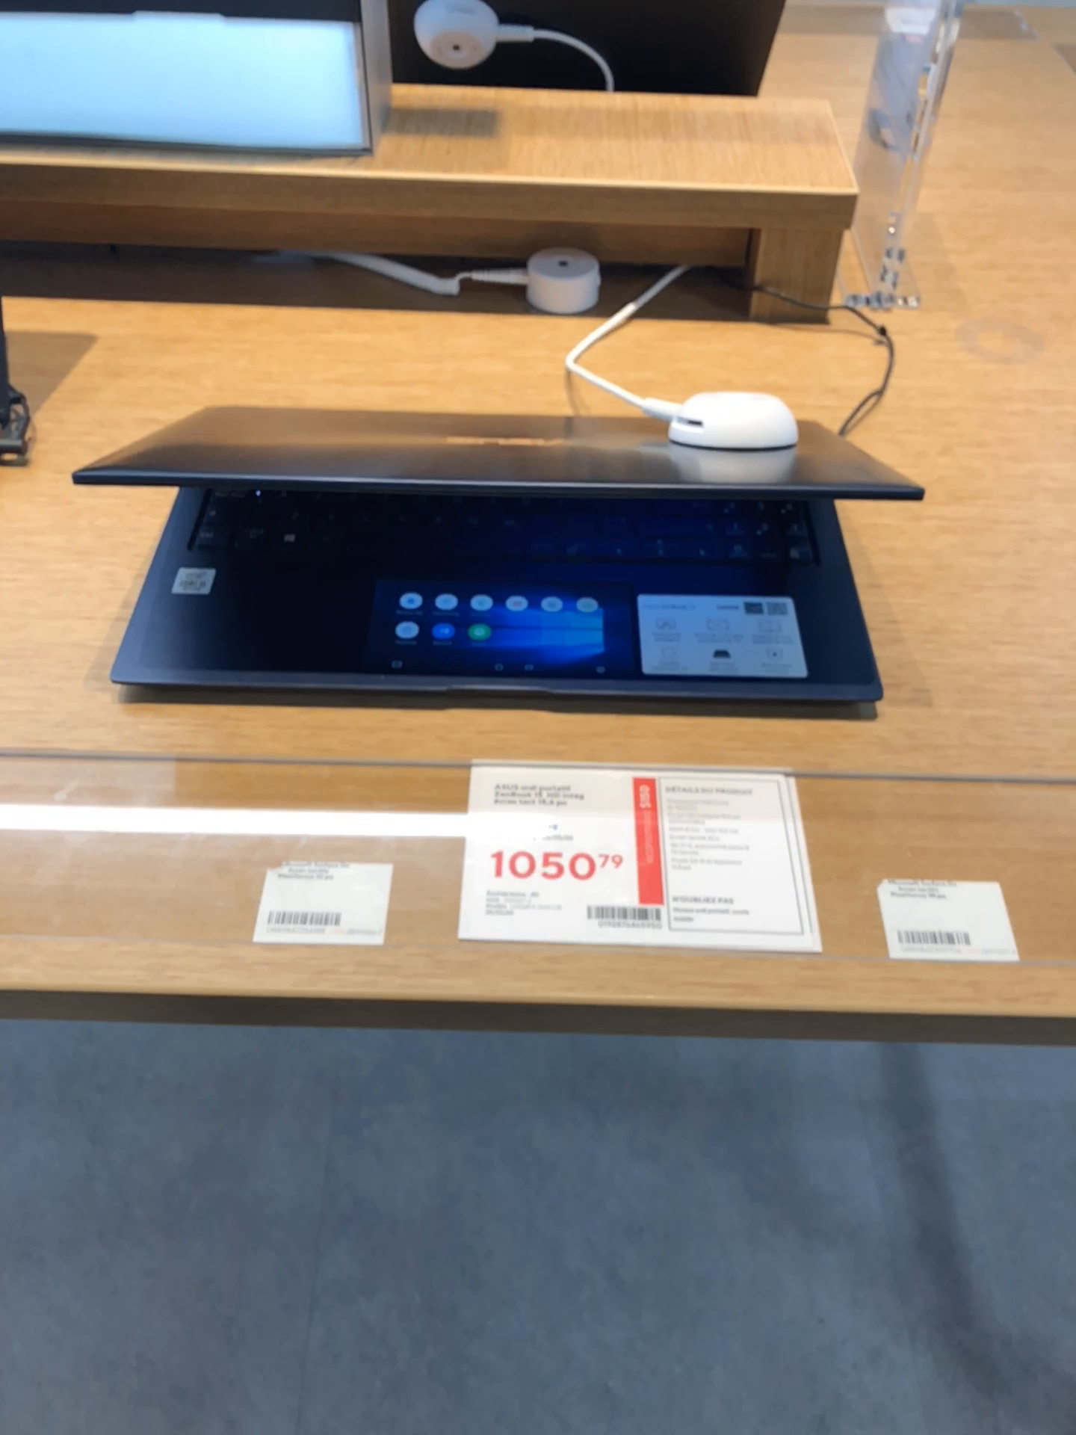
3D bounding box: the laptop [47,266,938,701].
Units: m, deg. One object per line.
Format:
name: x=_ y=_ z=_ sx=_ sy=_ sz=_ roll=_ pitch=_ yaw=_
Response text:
laptop: x=-0.015 y=-0.120 z=0.580 sx=0.352 sy=0.098 sz=0.209 roll=1 pitch=46 yaw=-1
